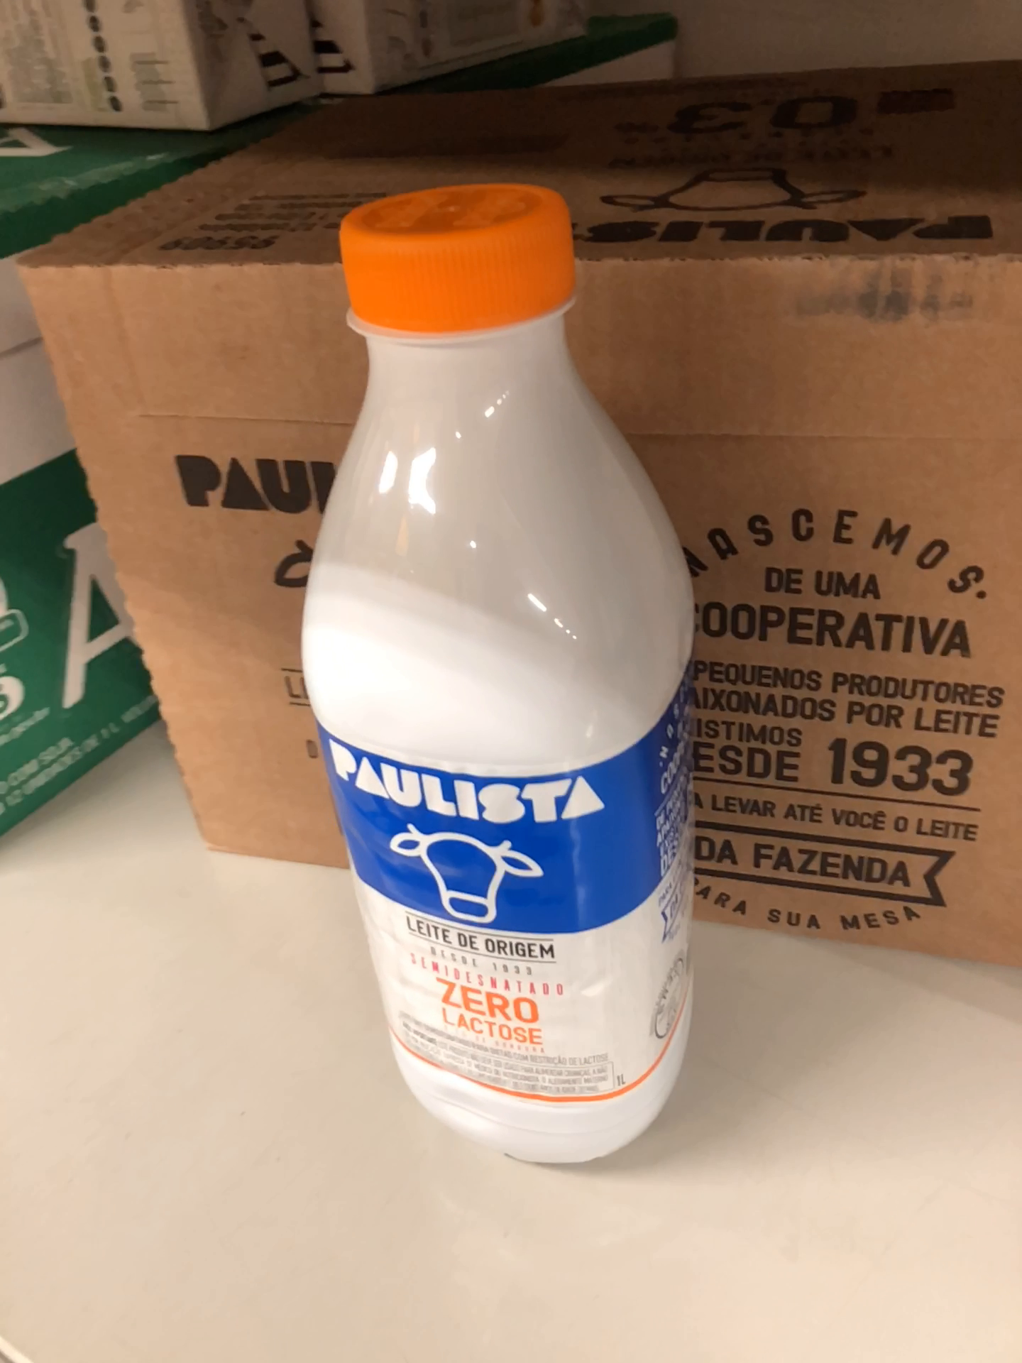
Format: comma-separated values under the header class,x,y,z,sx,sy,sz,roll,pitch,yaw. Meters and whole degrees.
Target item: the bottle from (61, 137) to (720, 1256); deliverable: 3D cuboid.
class,x,y,z,sx,sy,sz,roll,pitch,yaw
bottle,-0.003,0.015,0.248,0.080,0.228,0.081,-5,35,3
